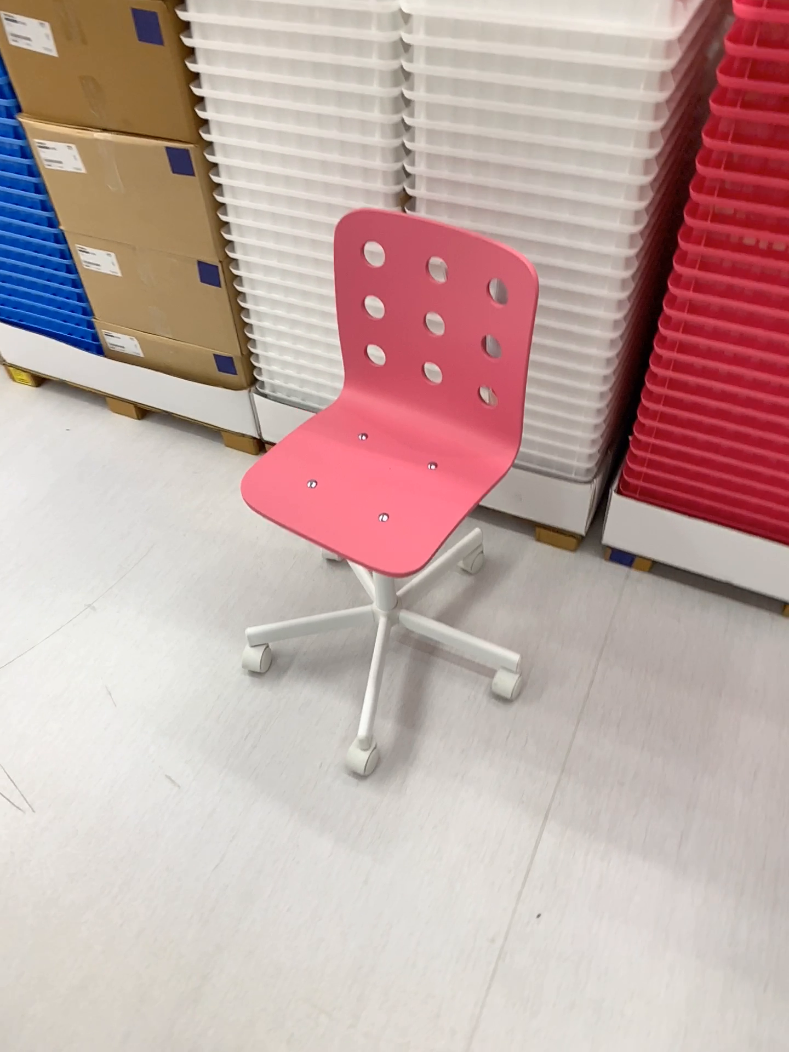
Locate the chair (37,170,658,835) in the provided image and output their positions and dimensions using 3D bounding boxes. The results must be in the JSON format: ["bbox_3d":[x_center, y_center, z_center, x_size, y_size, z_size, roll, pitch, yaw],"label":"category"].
[{"bbox_3d":[-0.020,-0.039,1.266,0.551,0.708,0.581,23,53,23],"label":"chair"}]
